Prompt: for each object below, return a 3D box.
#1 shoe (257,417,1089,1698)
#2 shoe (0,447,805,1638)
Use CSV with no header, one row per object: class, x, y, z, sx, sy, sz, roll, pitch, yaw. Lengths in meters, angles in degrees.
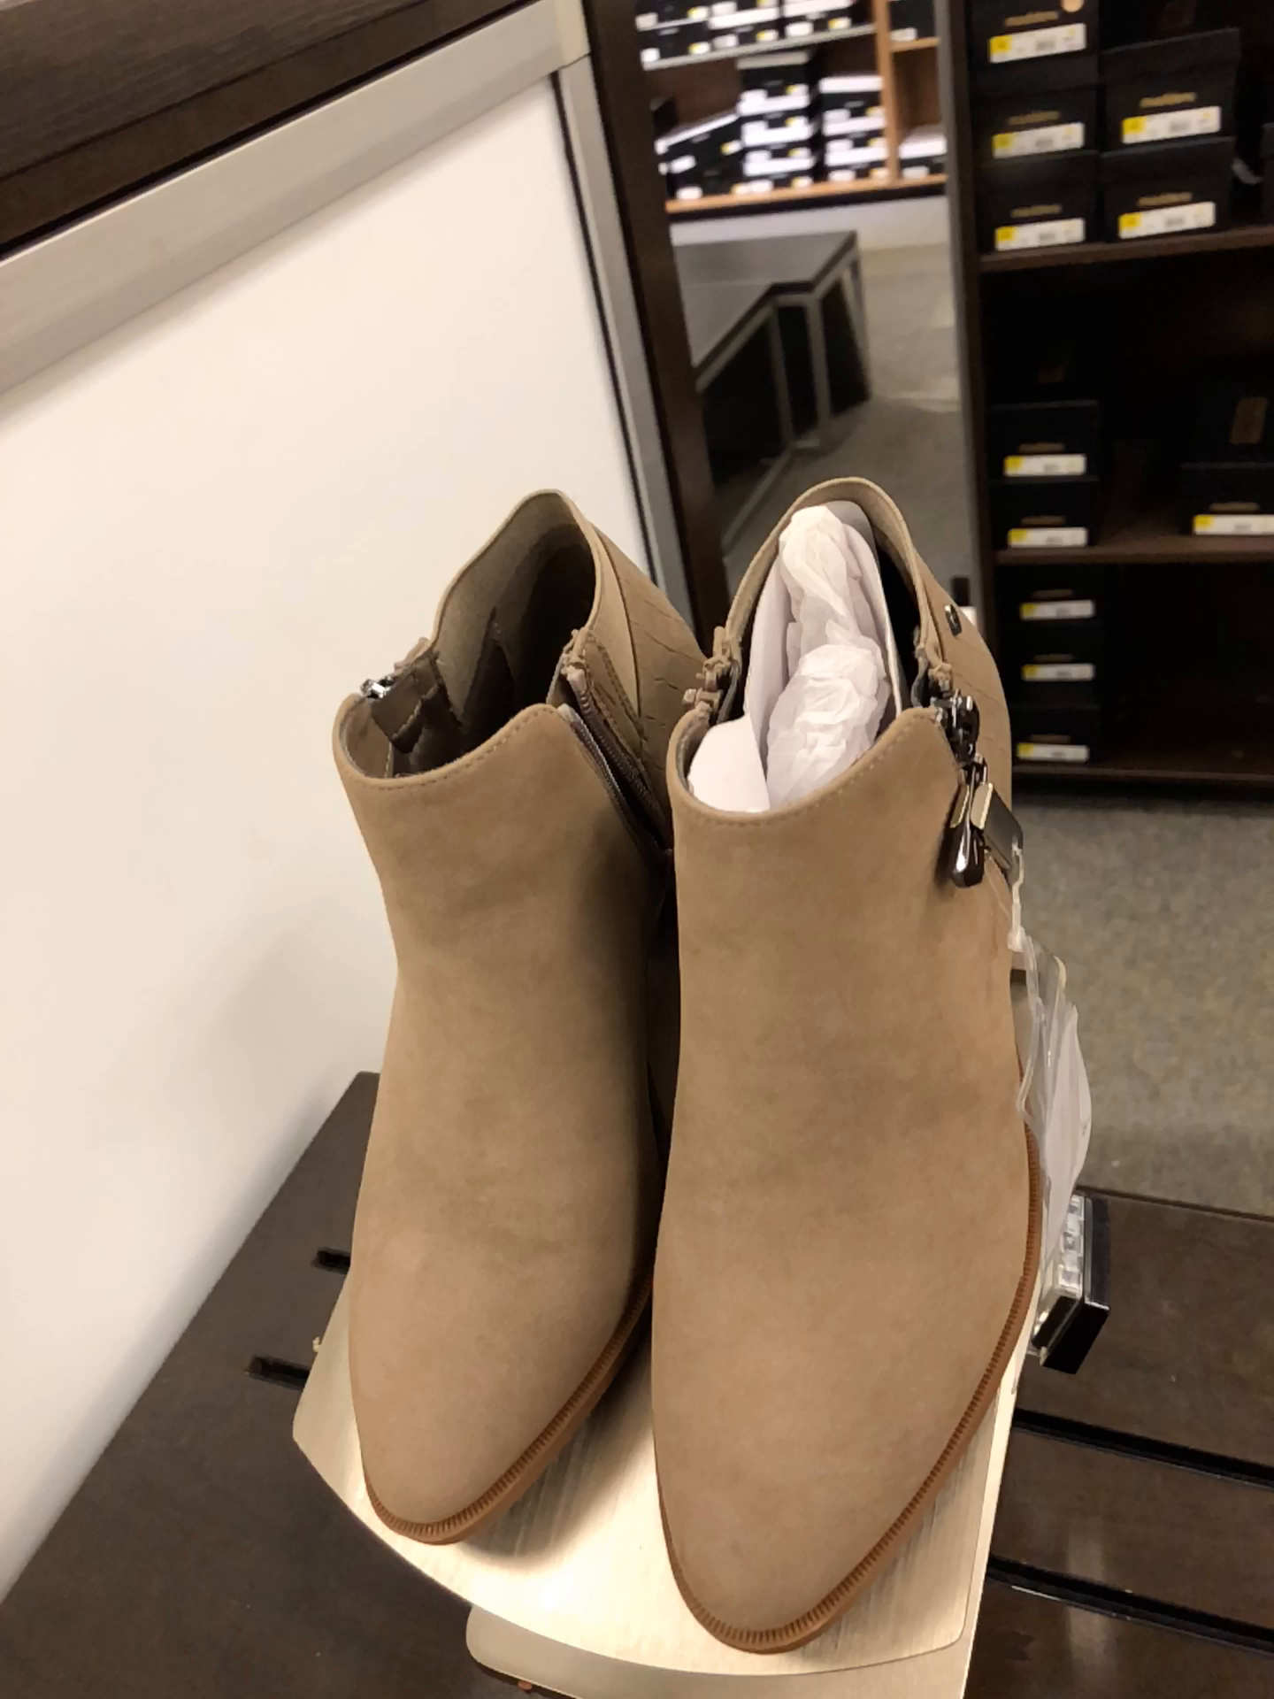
shoe,0.041,0.035,0.312,0.095,0.153,0.240,2,43,21
shoe,-0.039,0.032,0.345,0.095,0.152,0.231,2,45,21
